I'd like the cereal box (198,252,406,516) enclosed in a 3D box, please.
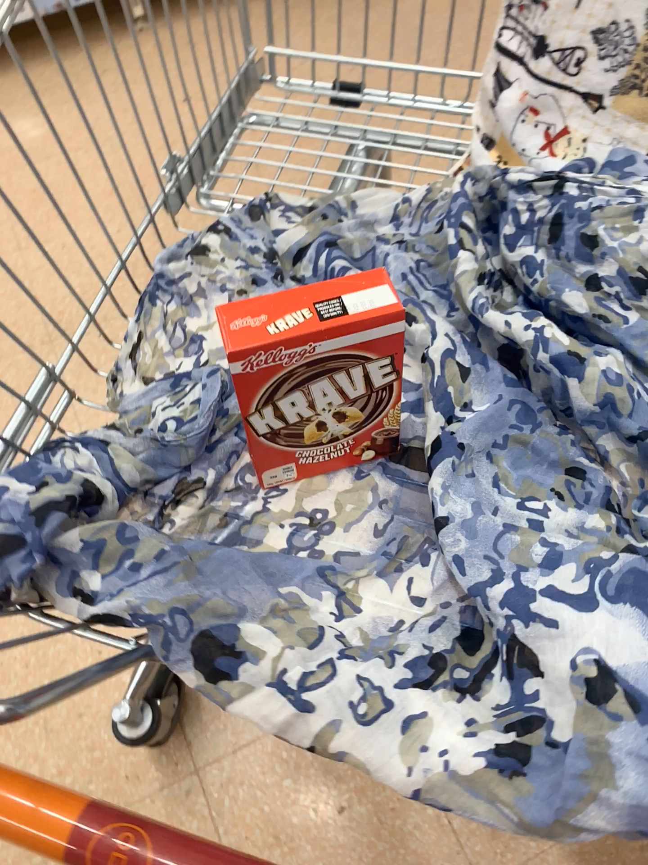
[{"bbox_3d":[-0.008,-0.019,0.371,0.090,0.149,0.040,-14,54,-8],"label":"cereal box"}]
